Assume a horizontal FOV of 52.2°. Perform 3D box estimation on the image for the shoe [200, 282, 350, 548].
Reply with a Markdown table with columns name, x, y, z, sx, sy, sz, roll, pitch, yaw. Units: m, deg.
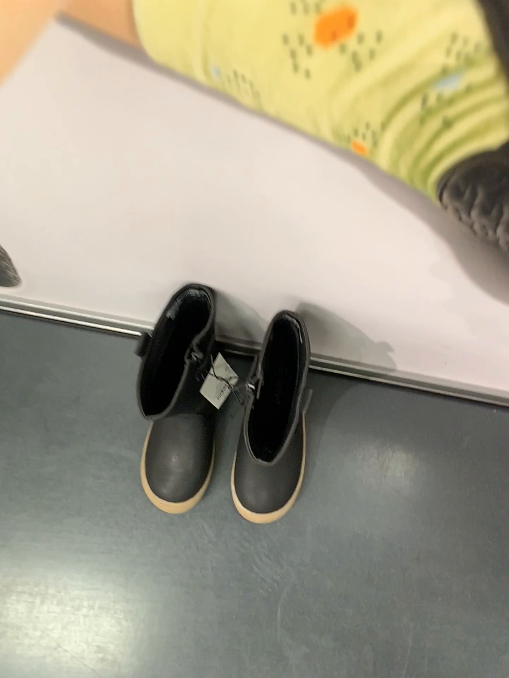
| name | x | y | z | sx | sy | sz | roll | pitch | yaw |
| --- | --- | --- | --- | --- | --- | --- | --- | --- | --- |
| shoe | 0.019 | 0.078 | 0.492 | 0.080 | 0.200 | 0.190 | 11 | 74 | 3 |

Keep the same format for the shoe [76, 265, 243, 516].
| name | x | y | z | sx | sy | sz | roll | pitch | yaw |
| --- | --- | --- | --- | --- | --- | --- | --- | --- | --- |
| shoe | -0.074 | 0.062 | 0.510 | 0.080 | 0.200 | 0.190 | 13 | 74 | 4 |
